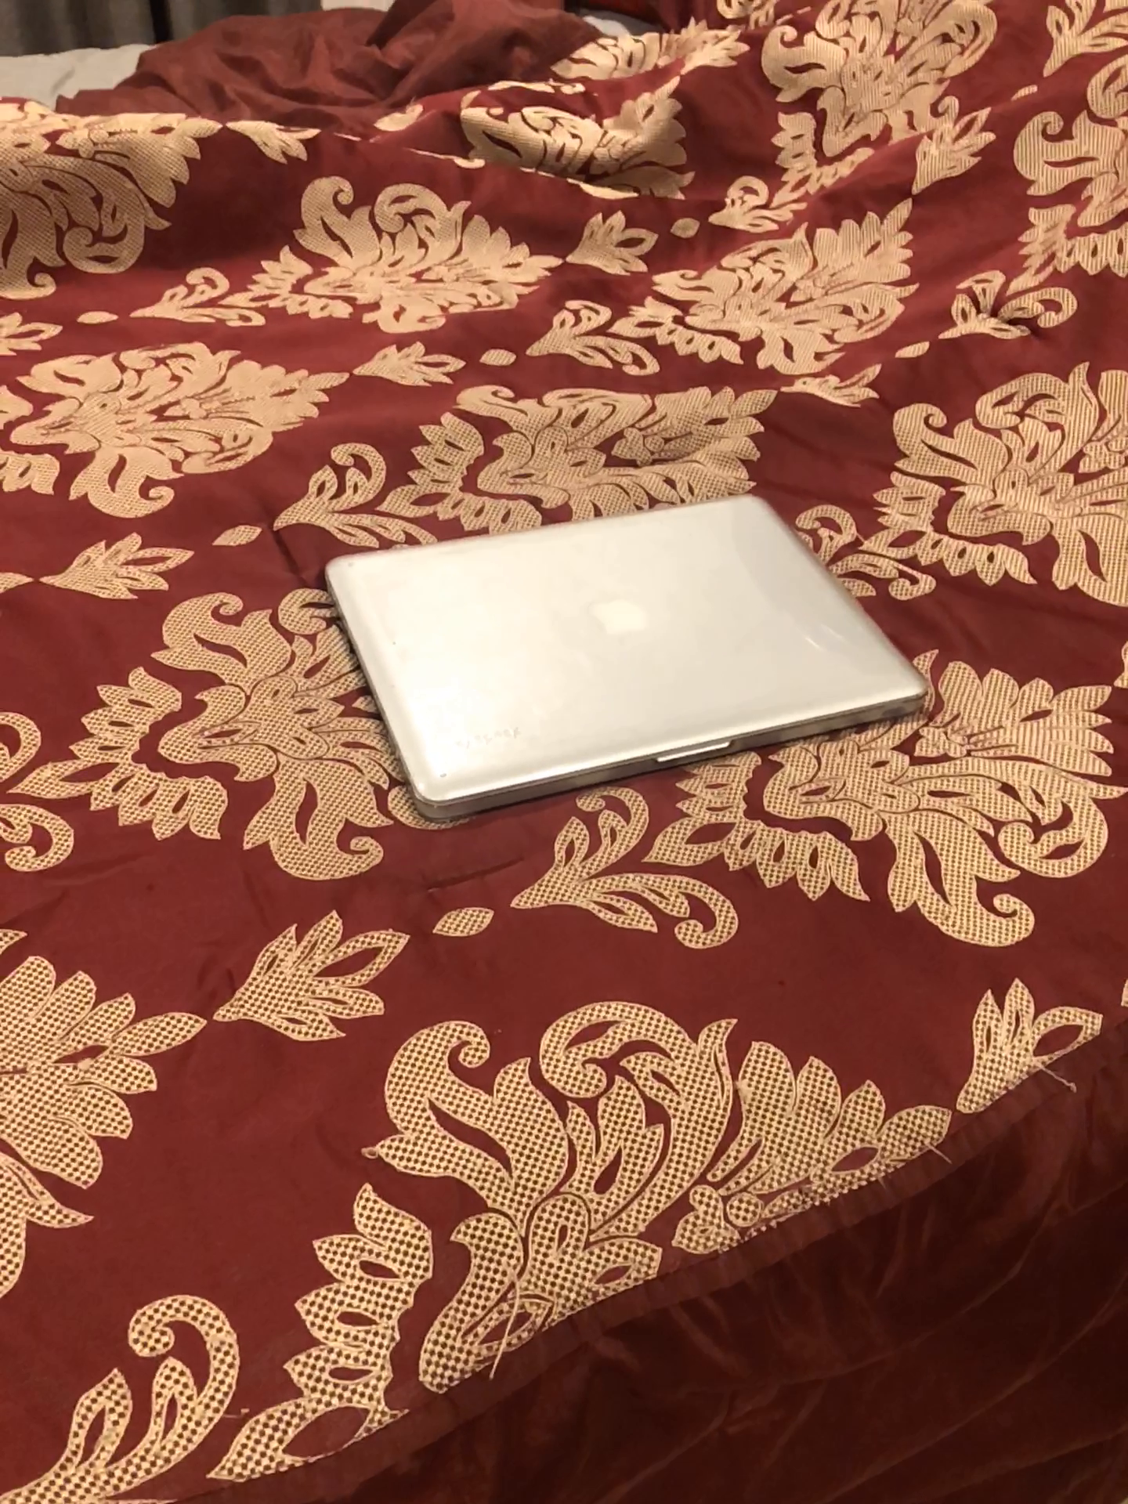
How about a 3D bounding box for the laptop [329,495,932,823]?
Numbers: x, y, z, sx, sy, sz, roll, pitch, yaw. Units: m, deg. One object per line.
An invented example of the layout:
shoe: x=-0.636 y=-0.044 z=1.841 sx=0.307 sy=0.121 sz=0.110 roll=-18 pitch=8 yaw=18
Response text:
laptop: x=0.034 y=-0.070 z=0.751 sx=0.304 sy=0.015 sz=0.208 roll=-13 pitch=47 yaw=-18
